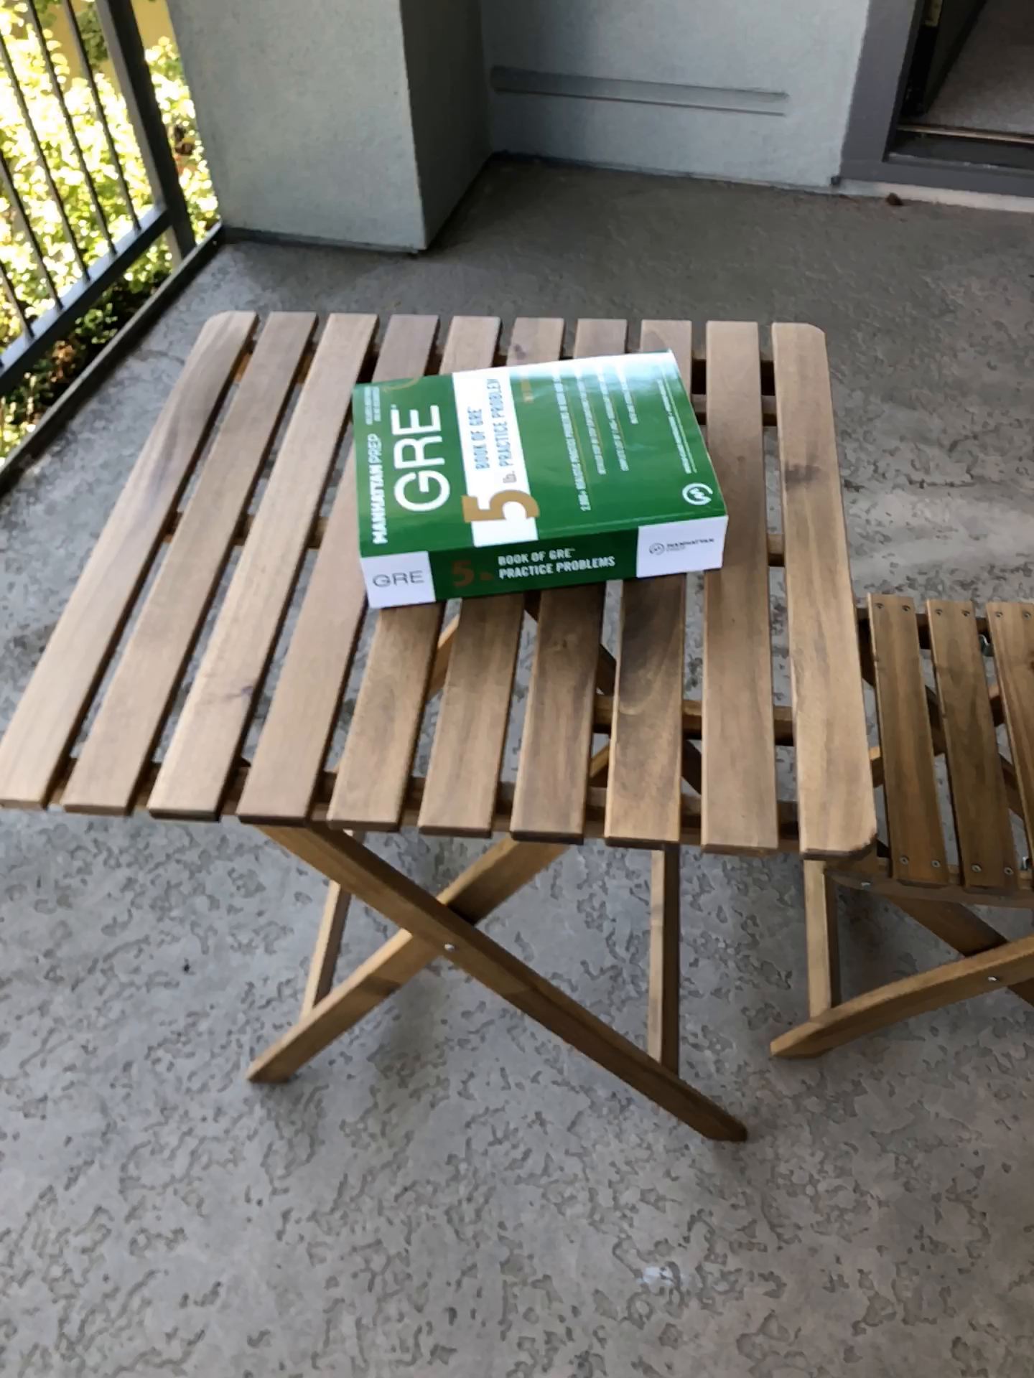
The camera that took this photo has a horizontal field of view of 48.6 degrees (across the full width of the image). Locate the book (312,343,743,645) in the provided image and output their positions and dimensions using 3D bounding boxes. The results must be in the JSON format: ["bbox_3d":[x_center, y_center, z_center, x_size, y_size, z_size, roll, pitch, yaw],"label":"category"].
[{"bbox_3d":[-0.004,-0.168,0.937,0.310,0.060,0.251,-8,50,-4],"label":"book"}]
